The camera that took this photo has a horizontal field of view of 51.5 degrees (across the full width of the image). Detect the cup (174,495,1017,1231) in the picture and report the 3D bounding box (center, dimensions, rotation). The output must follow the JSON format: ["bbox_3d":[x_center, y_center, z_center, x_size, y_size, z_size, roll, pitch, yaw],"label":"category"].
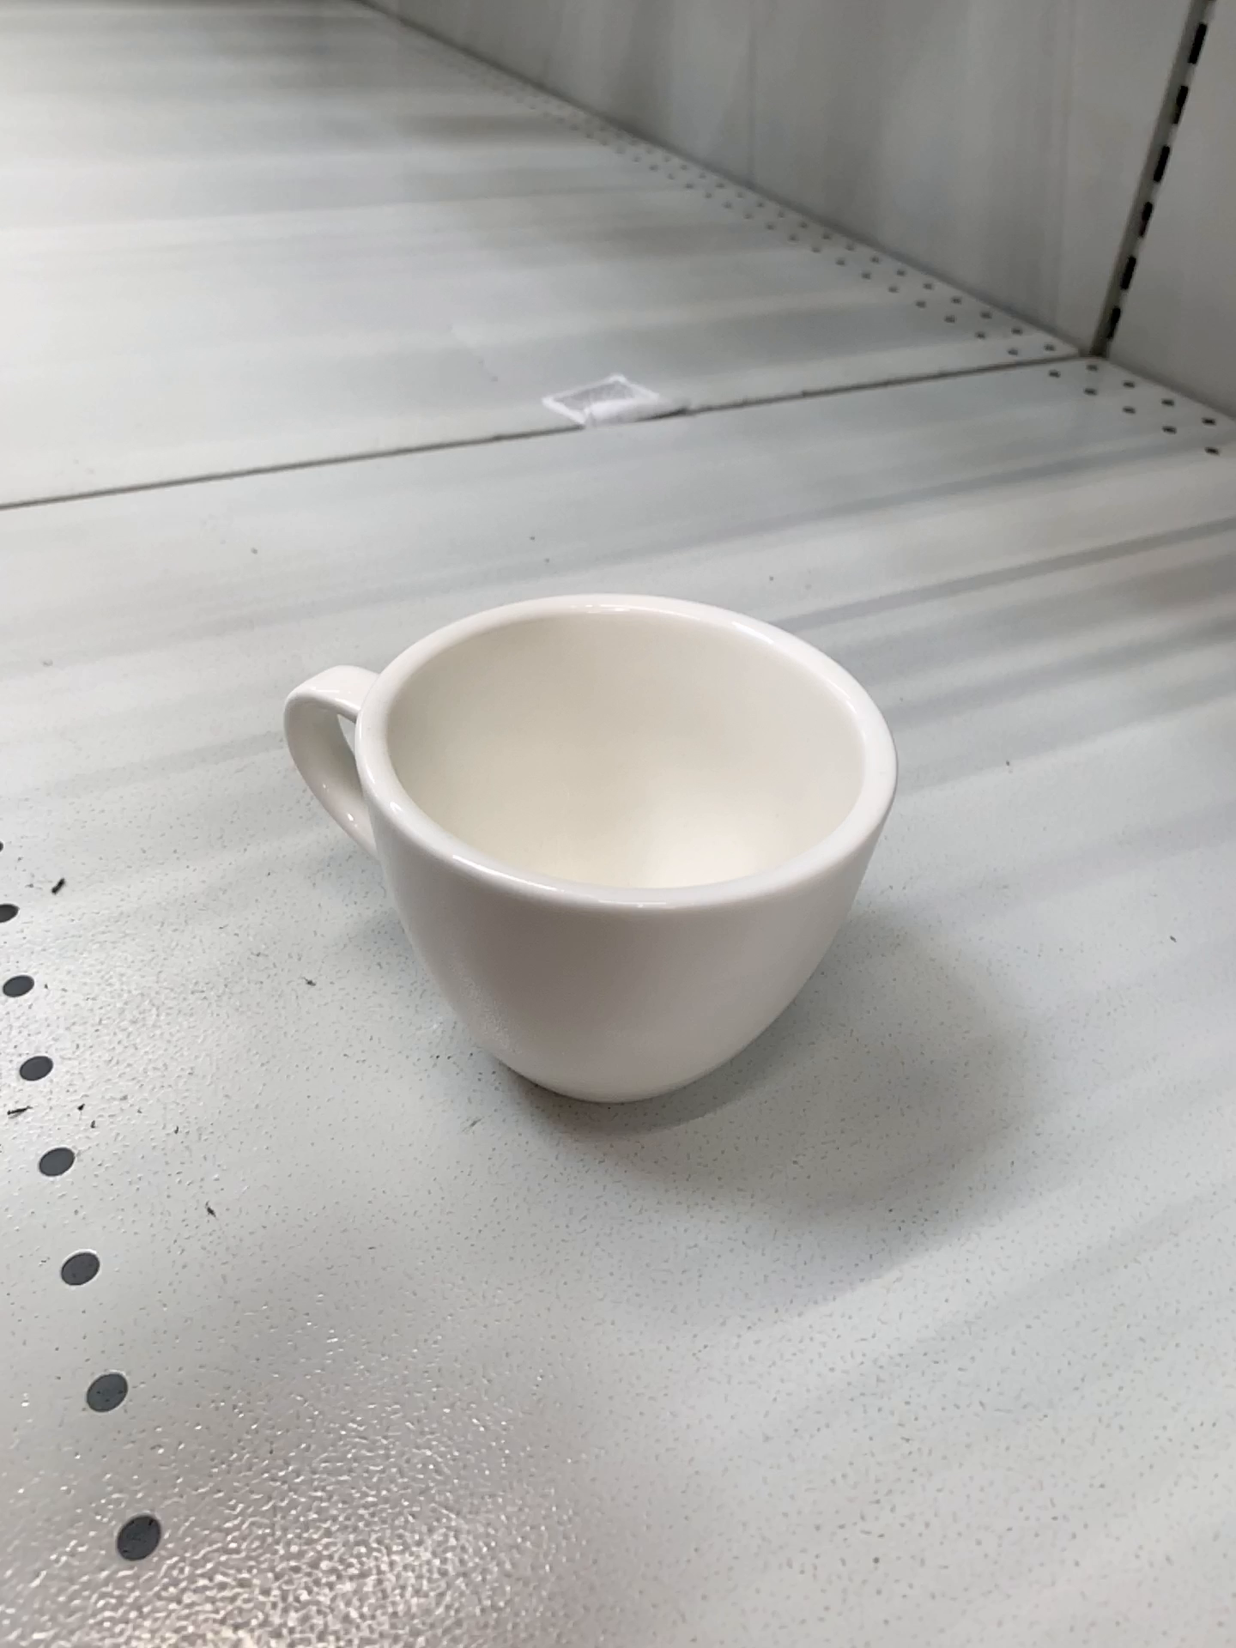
[{"bbox_3d":[-0.007,-0.004,0.264,0.132,0.062,0.095,29,45,27],"label":"cup"}]
